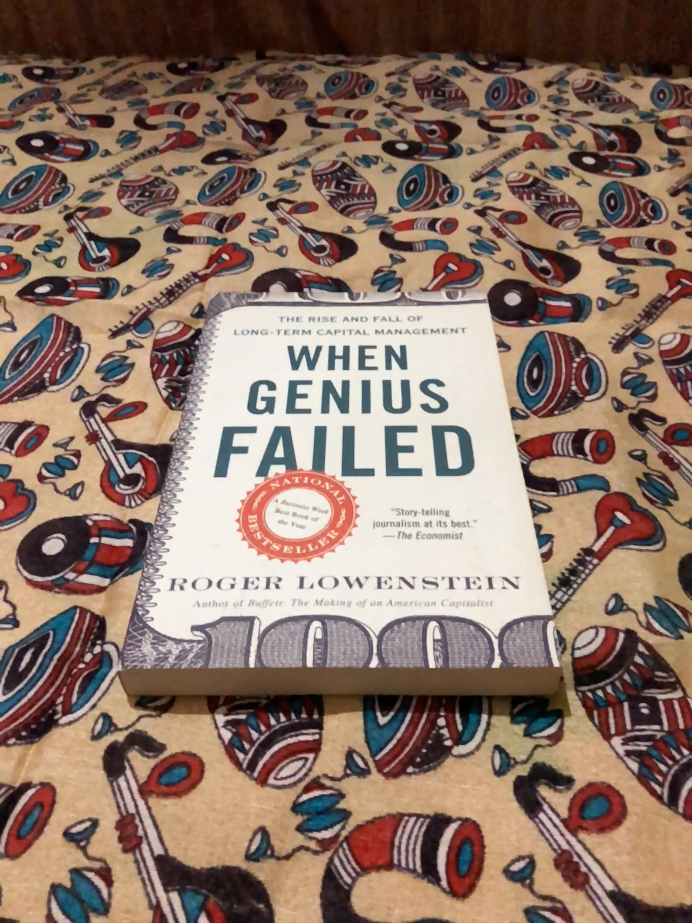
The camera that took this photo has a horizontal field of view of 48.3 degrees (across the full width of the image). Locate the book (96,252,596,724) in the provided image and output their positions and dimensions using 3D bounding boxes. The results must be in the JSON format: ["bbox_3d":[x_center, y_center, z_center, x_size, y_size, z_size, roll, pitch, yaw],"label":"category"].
[{"bbox_3d":[0.002,-0.010,0.304,0.140,0.030,0.221,1,46,0],"label":"book"}]
